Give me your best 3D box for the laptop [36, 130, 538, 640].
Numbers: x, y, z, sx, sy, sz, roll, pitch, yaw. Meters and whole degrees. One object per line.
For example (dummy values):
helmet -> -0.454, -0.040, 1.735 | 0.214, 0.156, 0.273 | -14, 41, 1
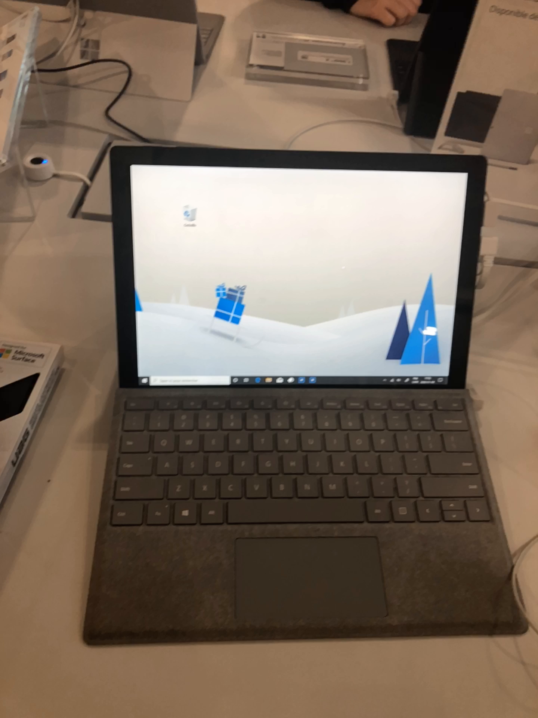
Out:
laptop -> 0.027, 0.006, 0.422 | 0.285, 0.150, 0.308 | 1, 53, -5
